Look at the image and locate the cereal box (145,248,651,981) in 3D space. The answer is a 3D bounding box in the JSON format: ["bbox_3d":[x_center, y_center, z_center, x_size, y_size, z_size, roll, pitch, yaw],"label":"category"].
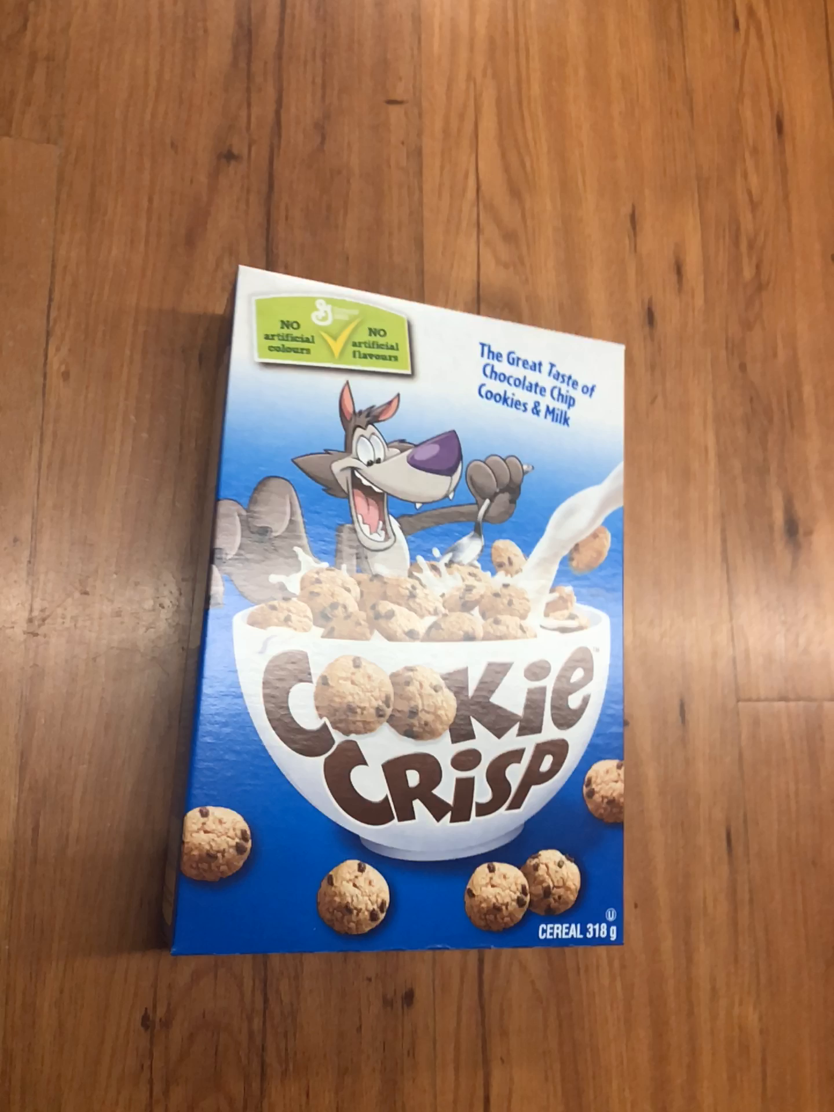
[{"bbox_3d":[-0.001,0.028,0.410,0.200,0.060,0.280,7,79,-19],"label":"cereal box"}]
